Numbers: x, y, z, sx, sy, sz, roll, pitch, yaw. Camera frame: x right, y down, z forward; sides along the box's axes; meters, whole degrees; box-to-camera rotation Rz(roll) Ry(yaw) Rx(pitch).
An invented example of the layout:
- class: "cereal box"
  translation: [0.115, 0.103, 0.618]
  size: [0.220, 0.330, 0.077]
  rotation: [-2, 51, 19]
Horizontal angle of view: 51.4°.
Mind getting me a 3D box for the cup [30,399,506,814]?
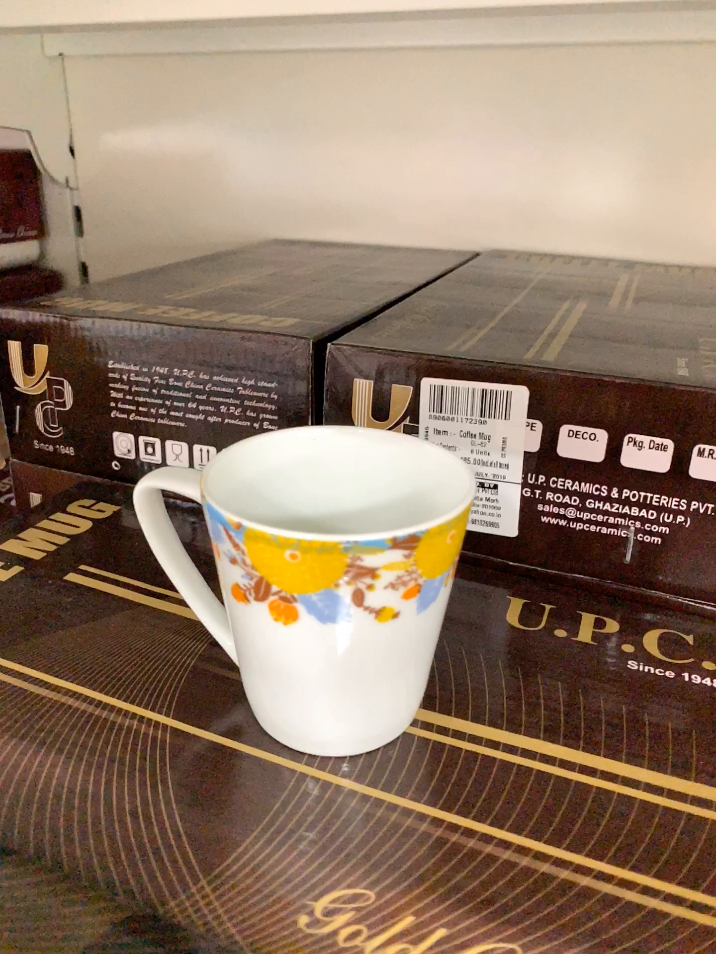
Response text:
- class: "cup"
  translation: [-0.018, 0.024, 0.190]
  size: [0.092, 0.058, 0.068]
  rotation: [11, 26, 21]
